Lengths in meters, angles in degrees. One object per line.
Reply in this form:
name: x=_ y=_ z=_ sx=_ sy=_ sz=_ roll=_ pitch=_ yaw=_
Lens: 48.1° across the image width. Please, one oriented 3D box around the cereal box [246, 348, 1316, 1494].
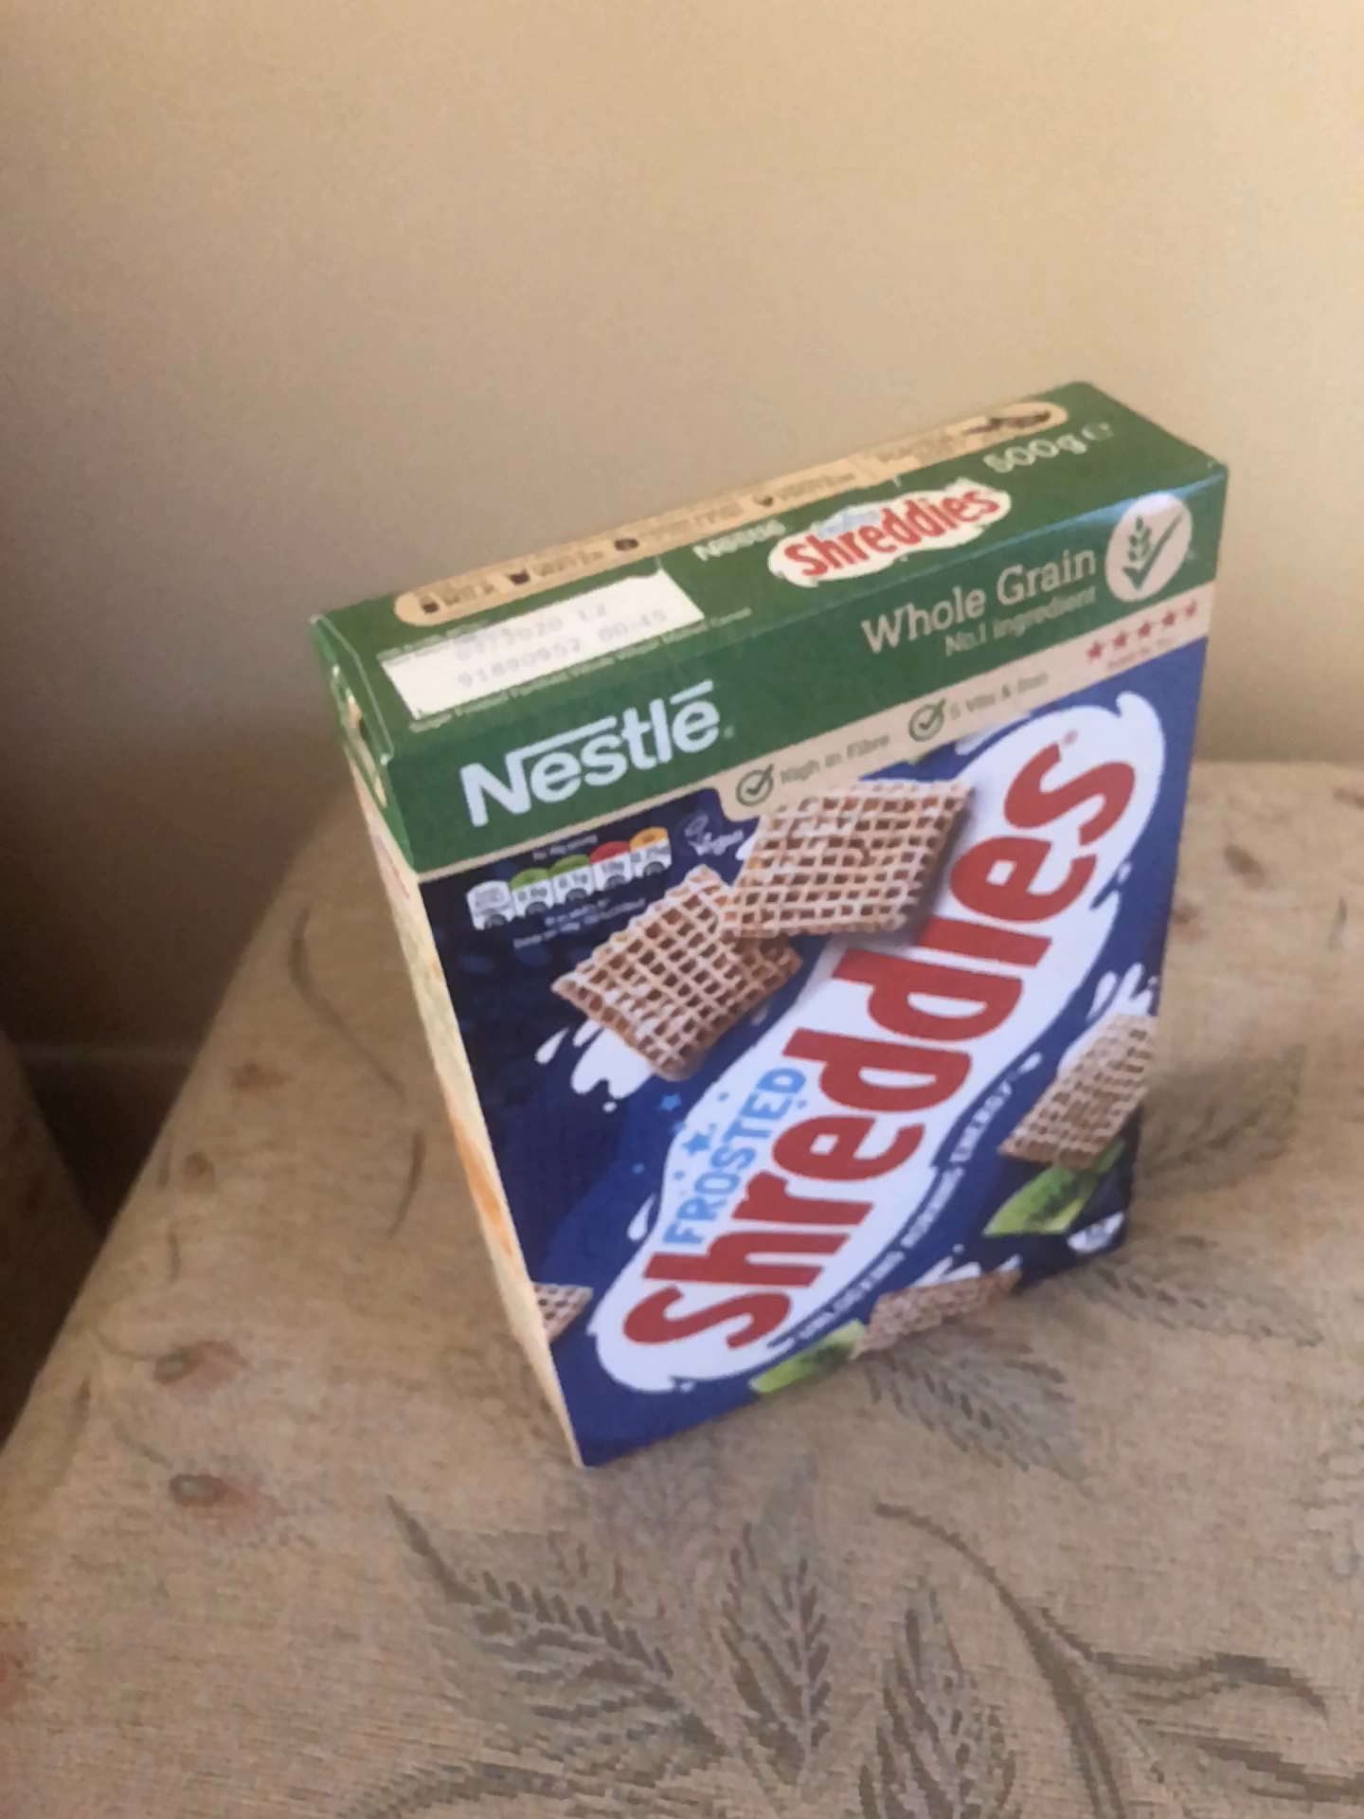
cereal box: x=0.032 y=0.020 z=0.384 sx=0.200 sy=0.258 sz=0.060 roll=-19 pitch=44 yaw=-12
